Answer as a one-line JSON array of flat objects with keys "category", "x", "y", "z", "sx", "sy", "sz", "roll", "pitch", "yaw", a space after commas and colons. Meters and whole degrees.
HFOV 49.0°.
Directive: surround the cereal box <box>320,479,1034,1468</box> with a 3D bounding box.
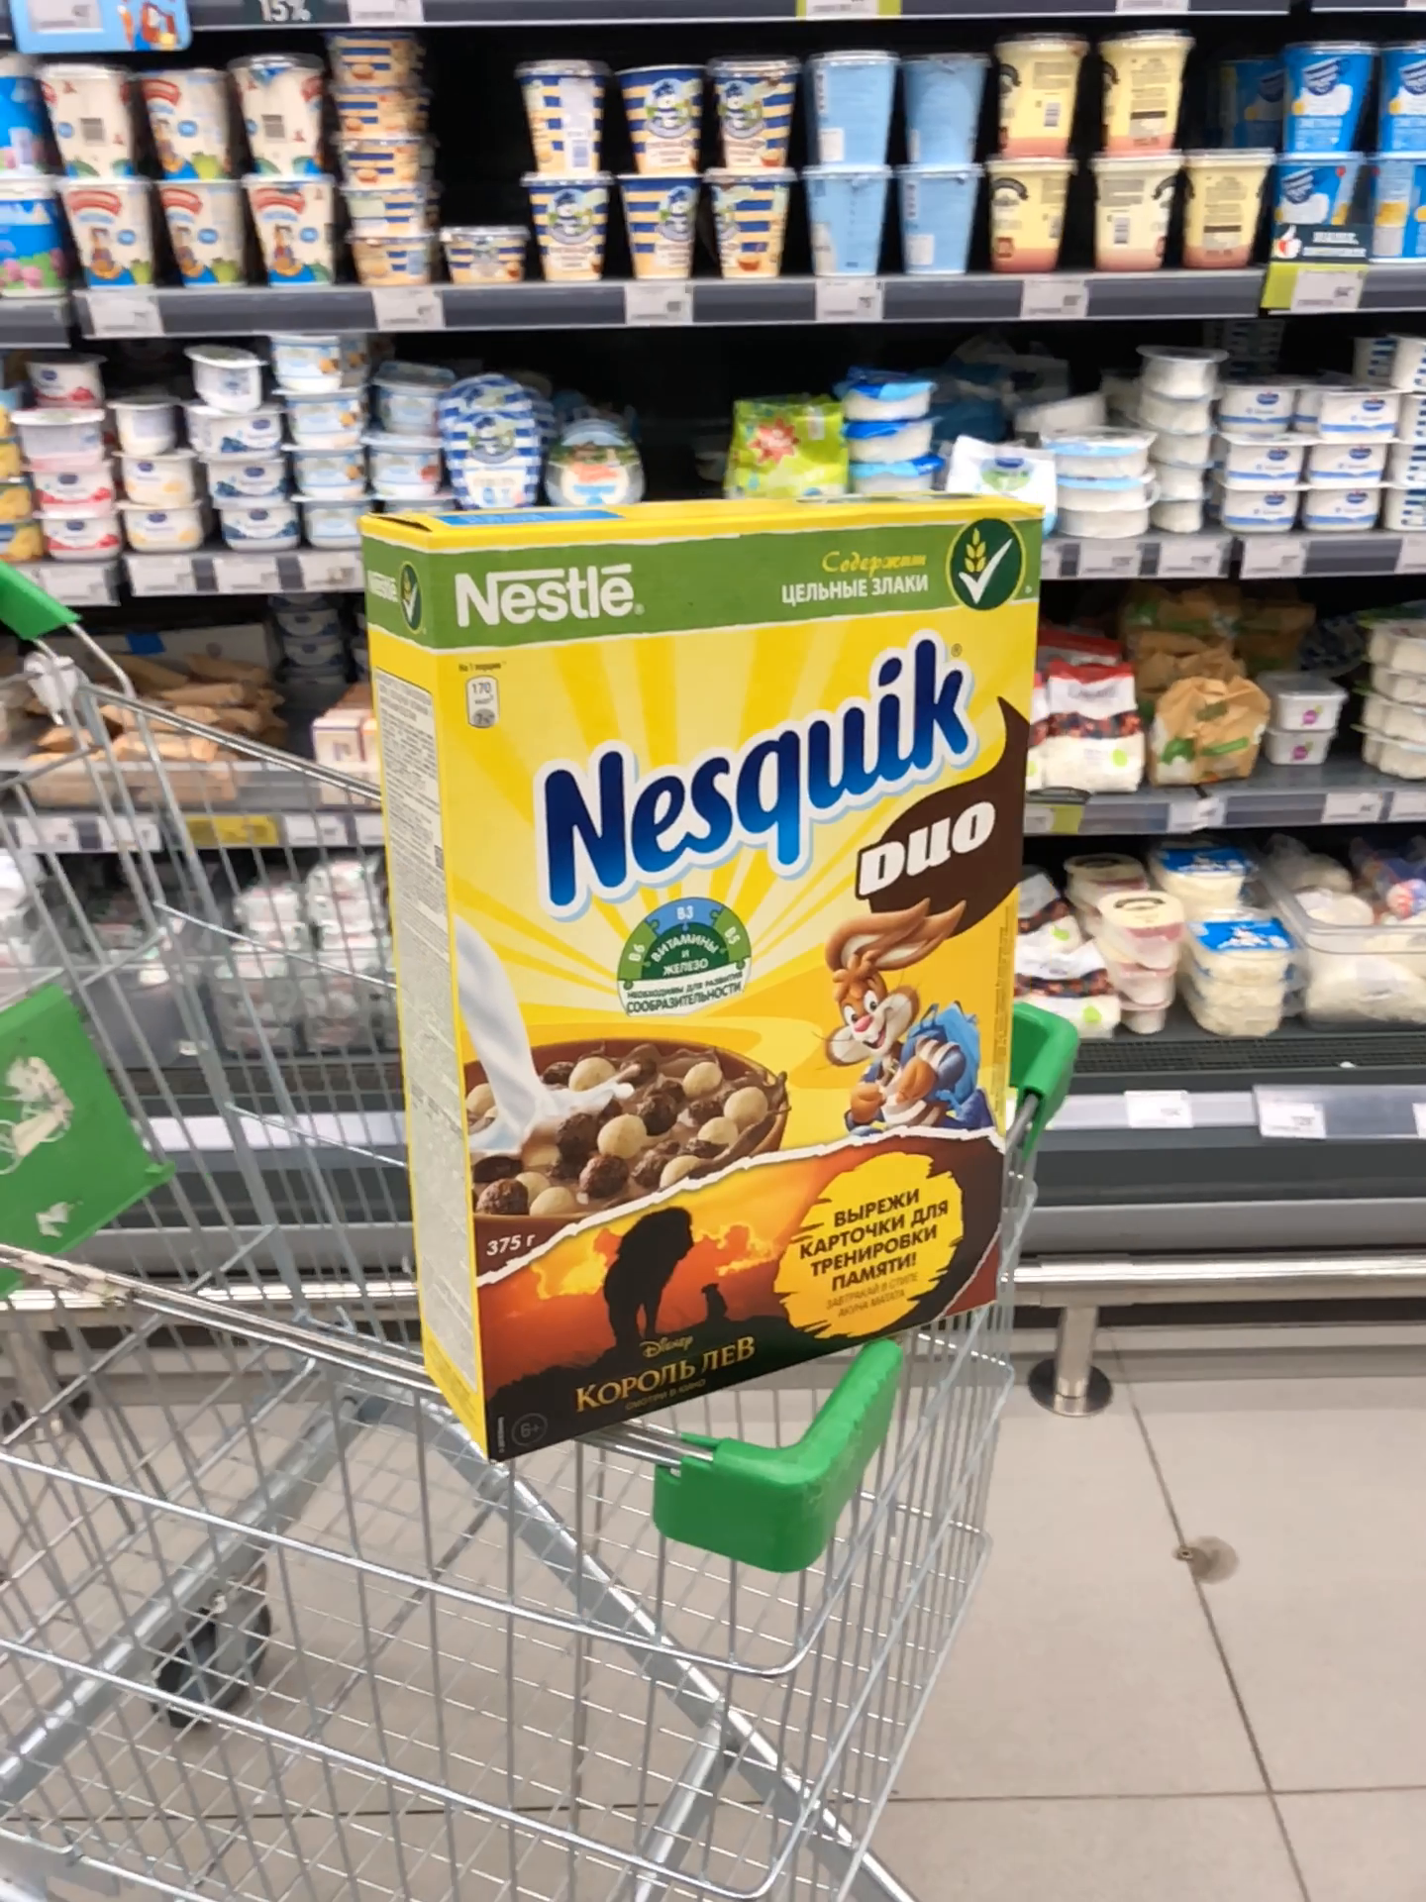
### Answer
[{"category": "cereal box", "x": -0.006, "y": 0.000, "z": 0.497, "sx": 0.200, "sy": 0.279, "sz": 0.060, "roll": -10, "pitch": 22, "yaw": -26}]
